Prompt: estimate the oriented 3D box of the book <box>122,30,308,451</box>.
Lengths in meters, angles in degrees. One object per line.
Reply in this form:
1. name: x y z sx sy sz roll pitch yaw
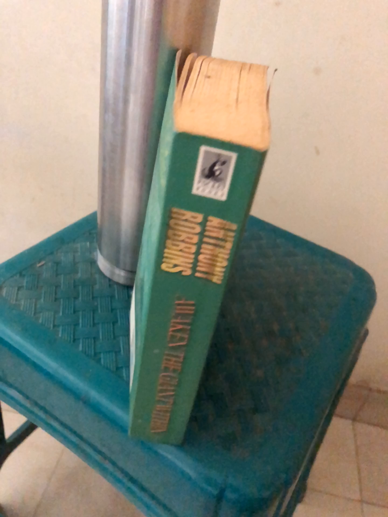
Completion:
1. book: 0.003 -0.006 0.257 0.050 0.199 0.141 10 39 -2
